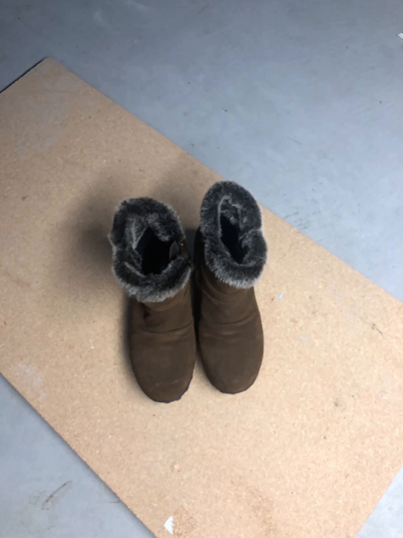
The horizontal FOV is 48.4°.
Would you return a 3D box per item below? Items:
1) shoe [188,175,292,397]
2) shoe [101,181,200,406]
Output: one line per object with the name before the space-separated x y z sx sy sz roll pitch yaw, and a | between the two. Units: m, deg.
shoe | 0.045 0.035 0.646 0.100 0.200 0.260 -5 67 0
shoe | -0.065 0.048 0.632 0.100 0.220 0.250 -5 67 0
